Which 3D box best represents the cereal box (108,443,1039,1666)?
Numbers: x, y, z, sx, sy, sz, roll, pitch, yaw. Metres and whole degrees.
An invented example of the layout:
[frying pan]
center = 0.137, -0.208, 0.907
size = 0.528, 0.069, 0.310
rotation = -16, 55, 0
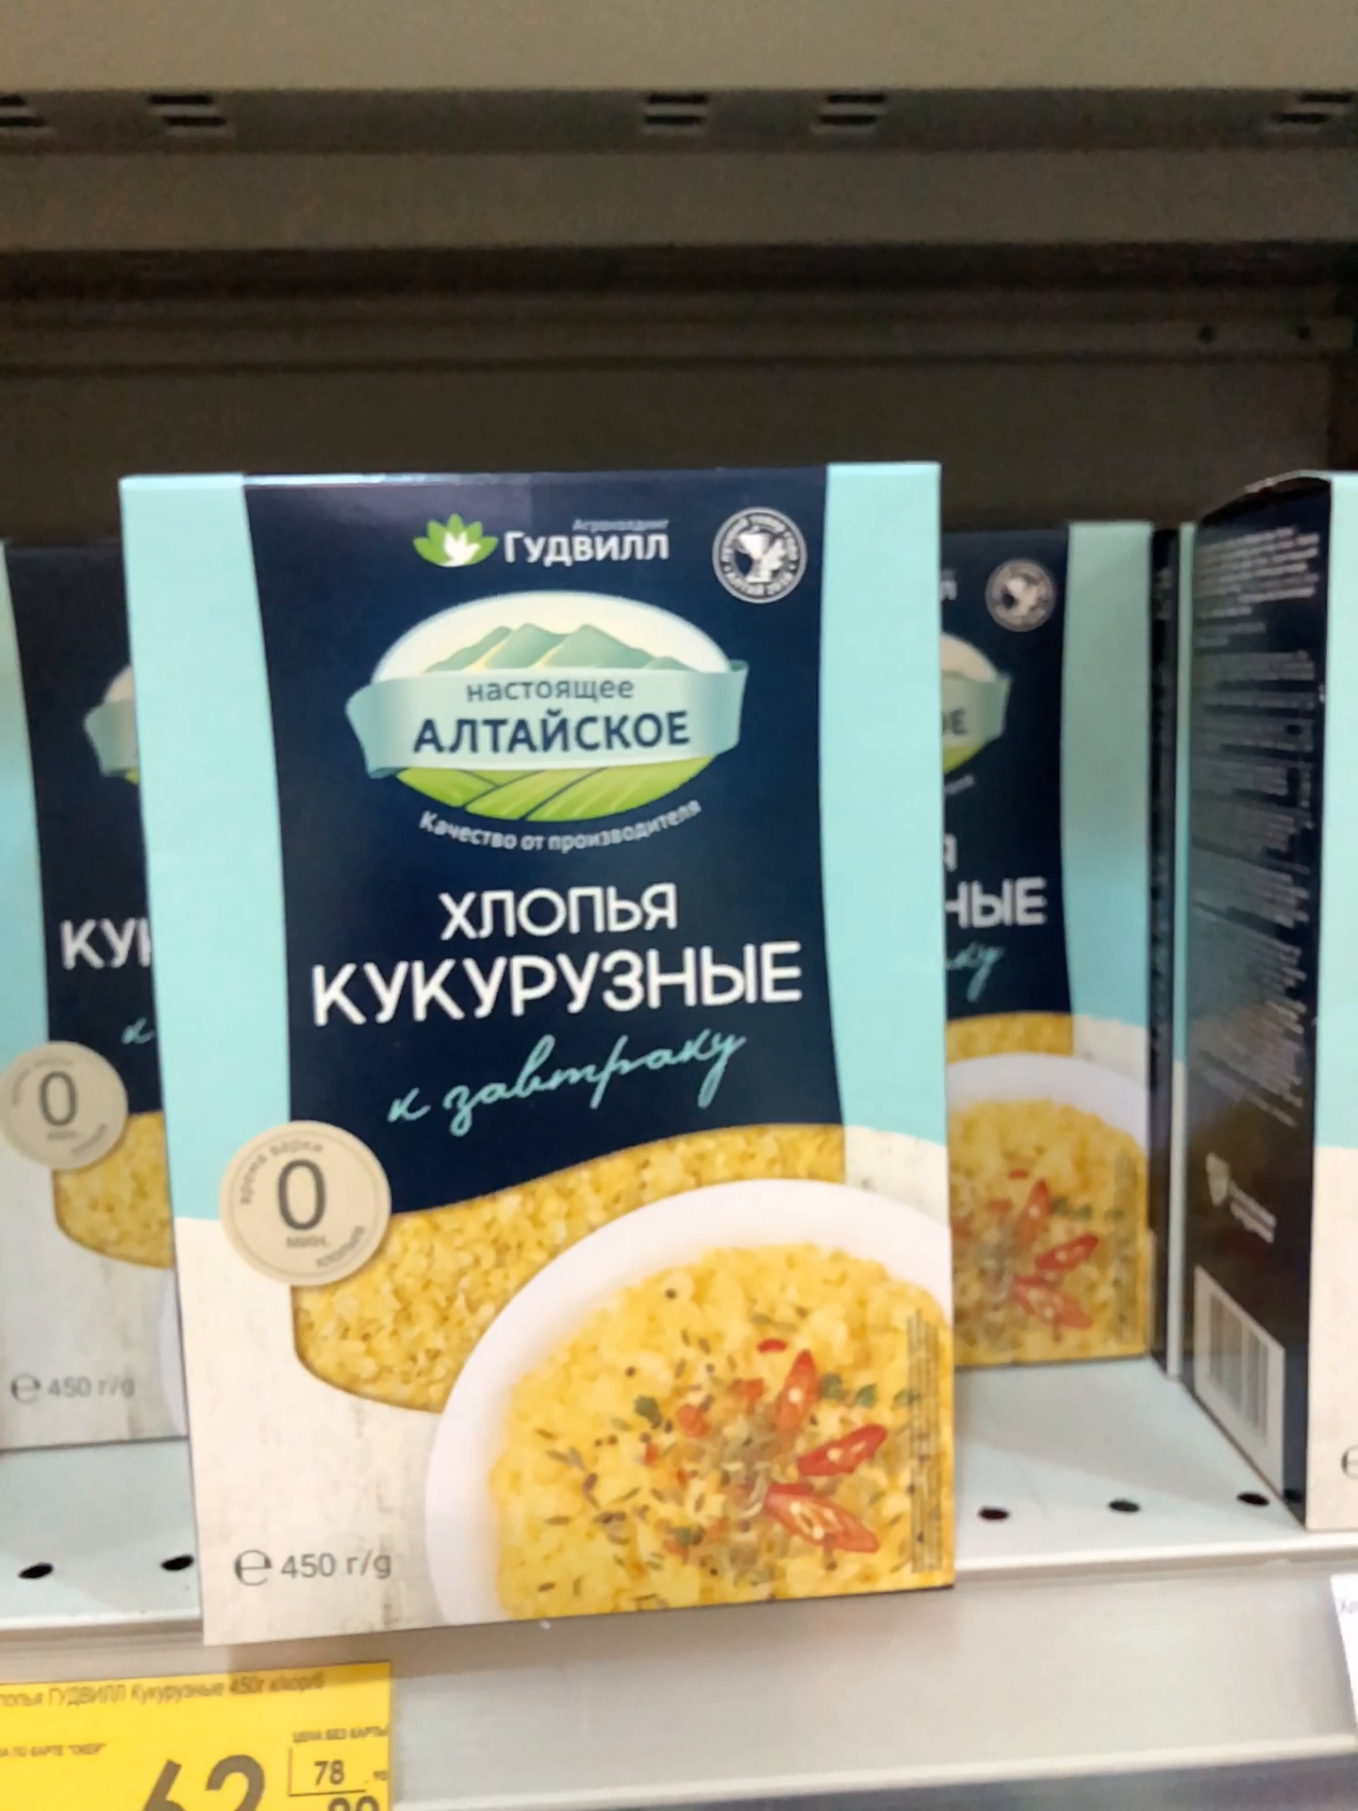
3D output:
[cereal box]
center = -0.015, 0.021, 0.271
size = 0.140, 0.190, 0.060
rotation = -3, 6, -6
